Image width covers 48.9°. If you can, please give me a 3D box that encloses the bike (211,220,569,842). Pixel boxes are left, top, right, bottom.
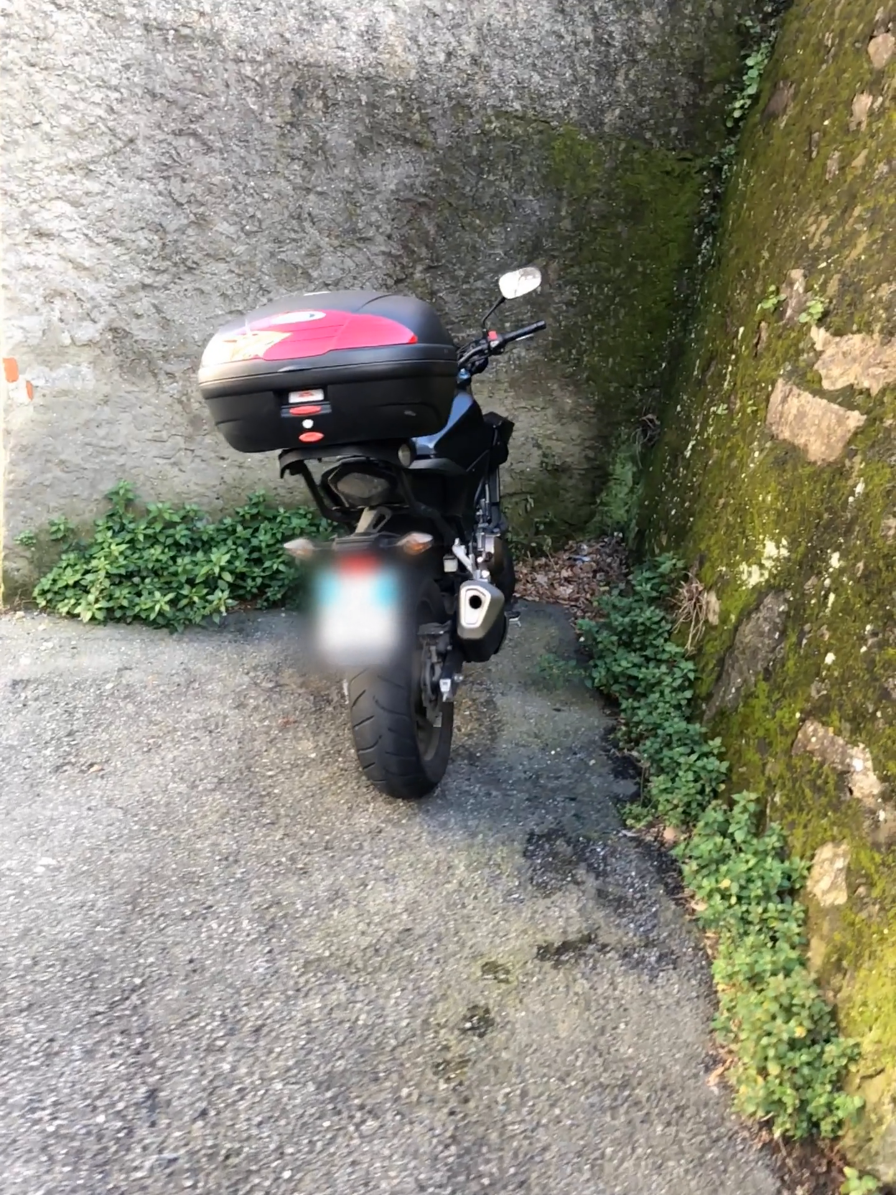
[{"bbox_3d":[-0.192,-0.418,3.093,0.711,1.198,1.792,6,23,-3],"label":"bike"}]
